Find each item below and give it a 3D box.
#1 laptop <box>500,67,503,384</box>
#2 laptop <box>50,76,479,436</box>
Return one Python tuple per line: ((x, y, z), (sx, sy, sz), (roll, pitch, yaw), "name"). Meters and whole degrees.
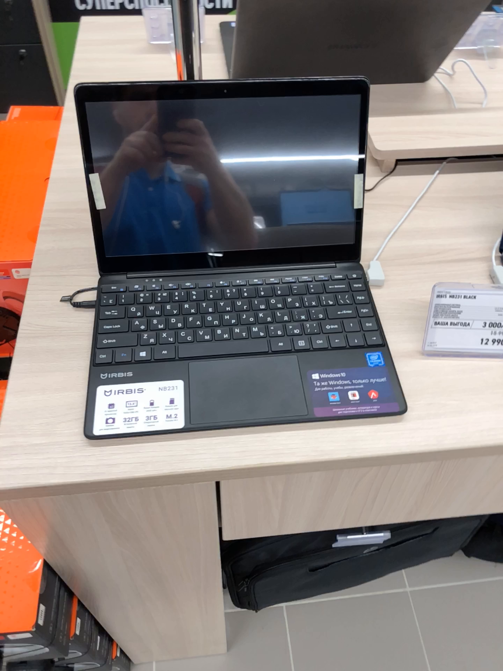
((0.490, -0.123, 0.582), (0.308, 0.186, 0.266), (-3, 50, -4), "laptop")
((-0.003, -0.093, 0.551), (0.304, 0.172, 0.307), (-4, 51, -4), "laptop")
